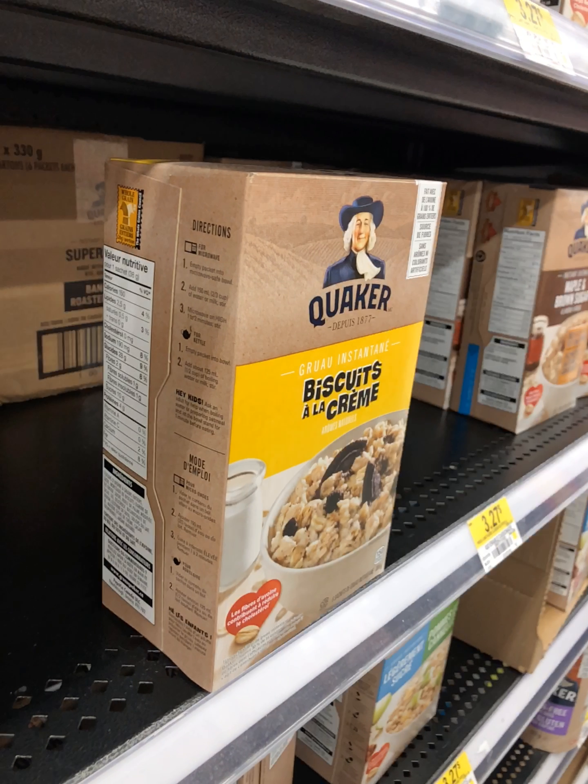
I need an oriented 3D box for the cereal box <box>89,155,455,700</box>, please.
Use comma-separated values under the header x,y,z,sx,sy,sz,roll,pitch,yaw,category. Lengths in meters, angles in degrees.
x,y,z,sx,sy,sz,roll,pitch,yaw,category
-0.011,0.004,0.283,0.080,0.189,0.120,21,25,38,cereal box
